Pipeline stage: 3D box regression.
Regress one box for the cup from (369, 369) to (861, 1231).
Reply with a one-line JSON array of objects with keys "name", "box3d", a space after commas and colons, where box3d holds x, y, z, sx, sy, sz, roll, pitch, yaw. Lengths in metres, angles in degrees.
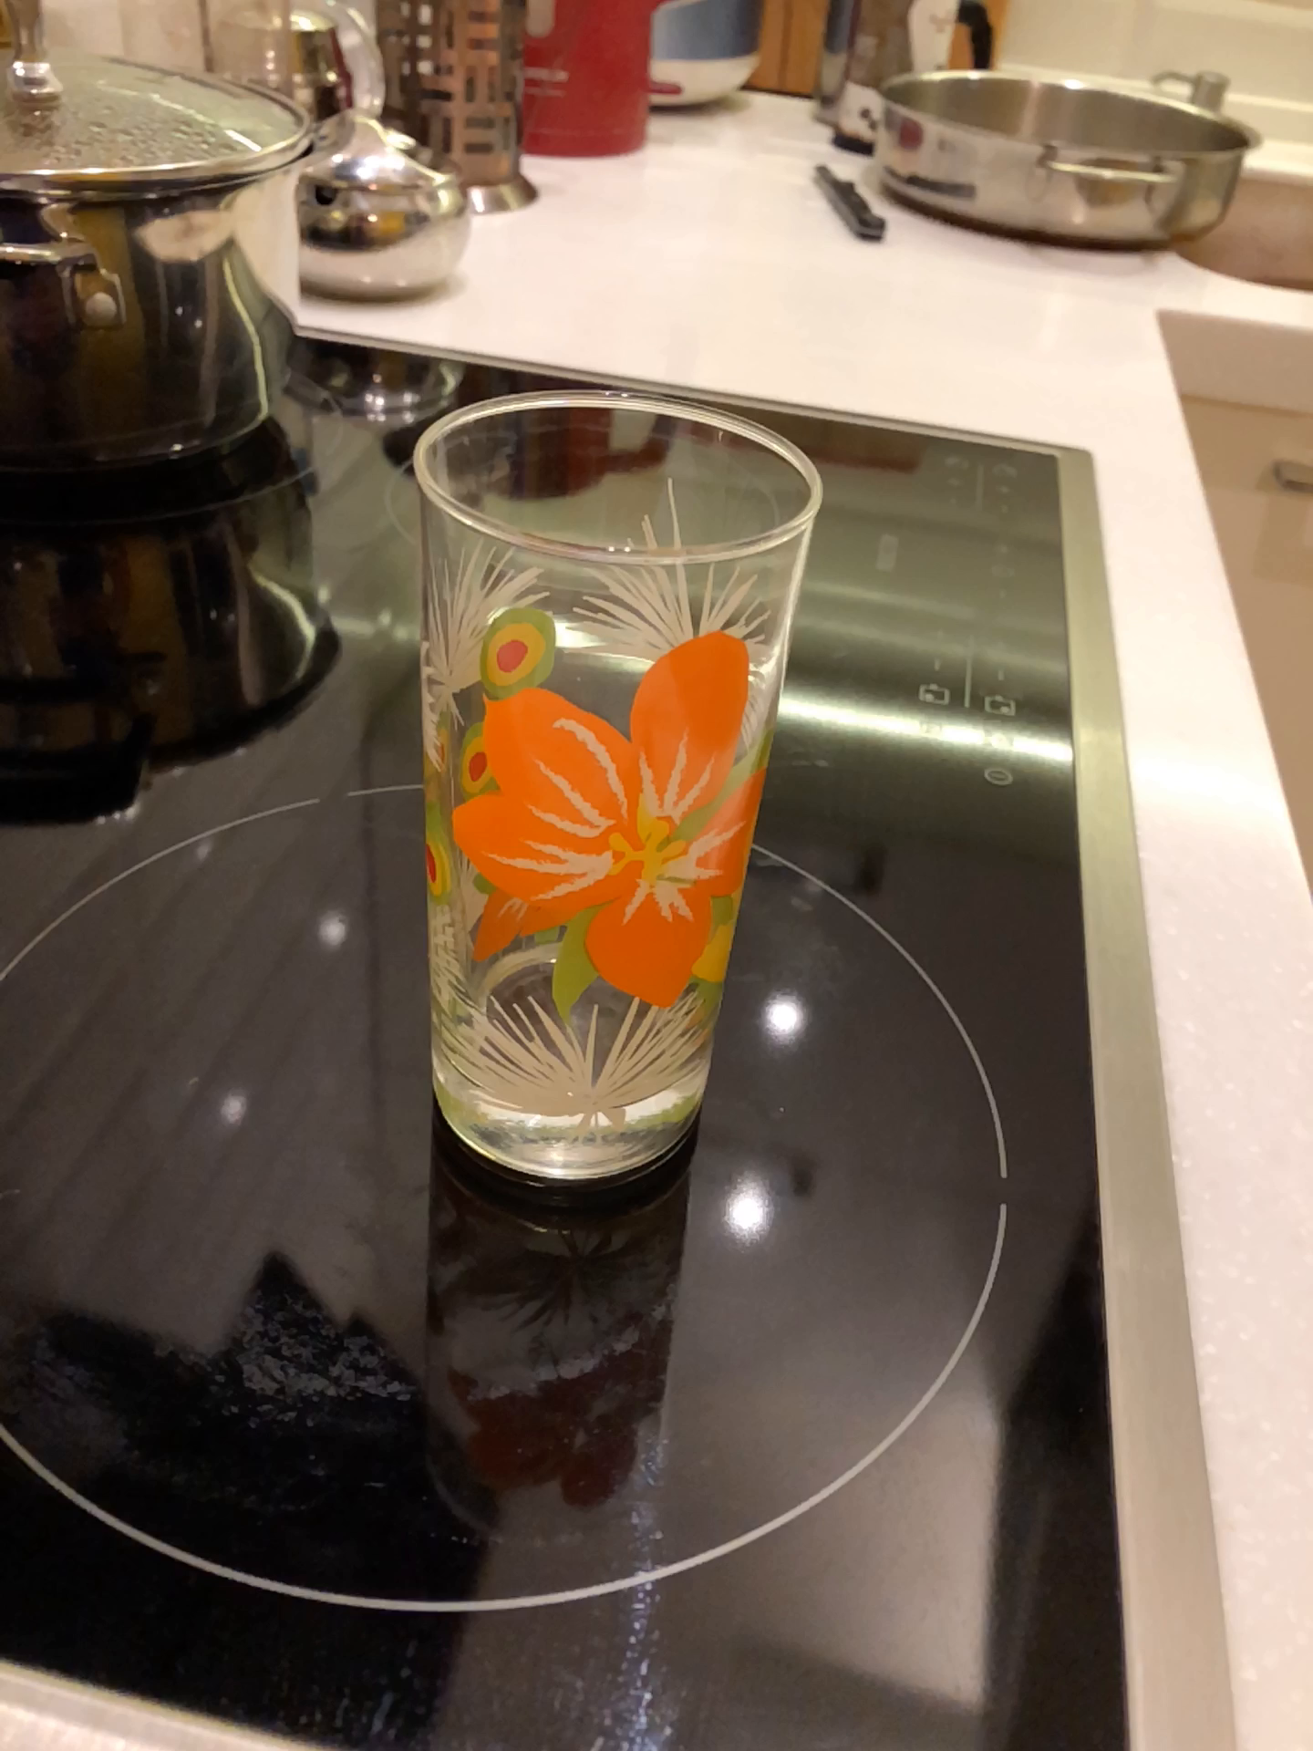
[{"name": "cup", "box3d": [-0.011, -0.008, 0.262, 0.066, 0.138, 0.063, 4, 37, -3]}]
